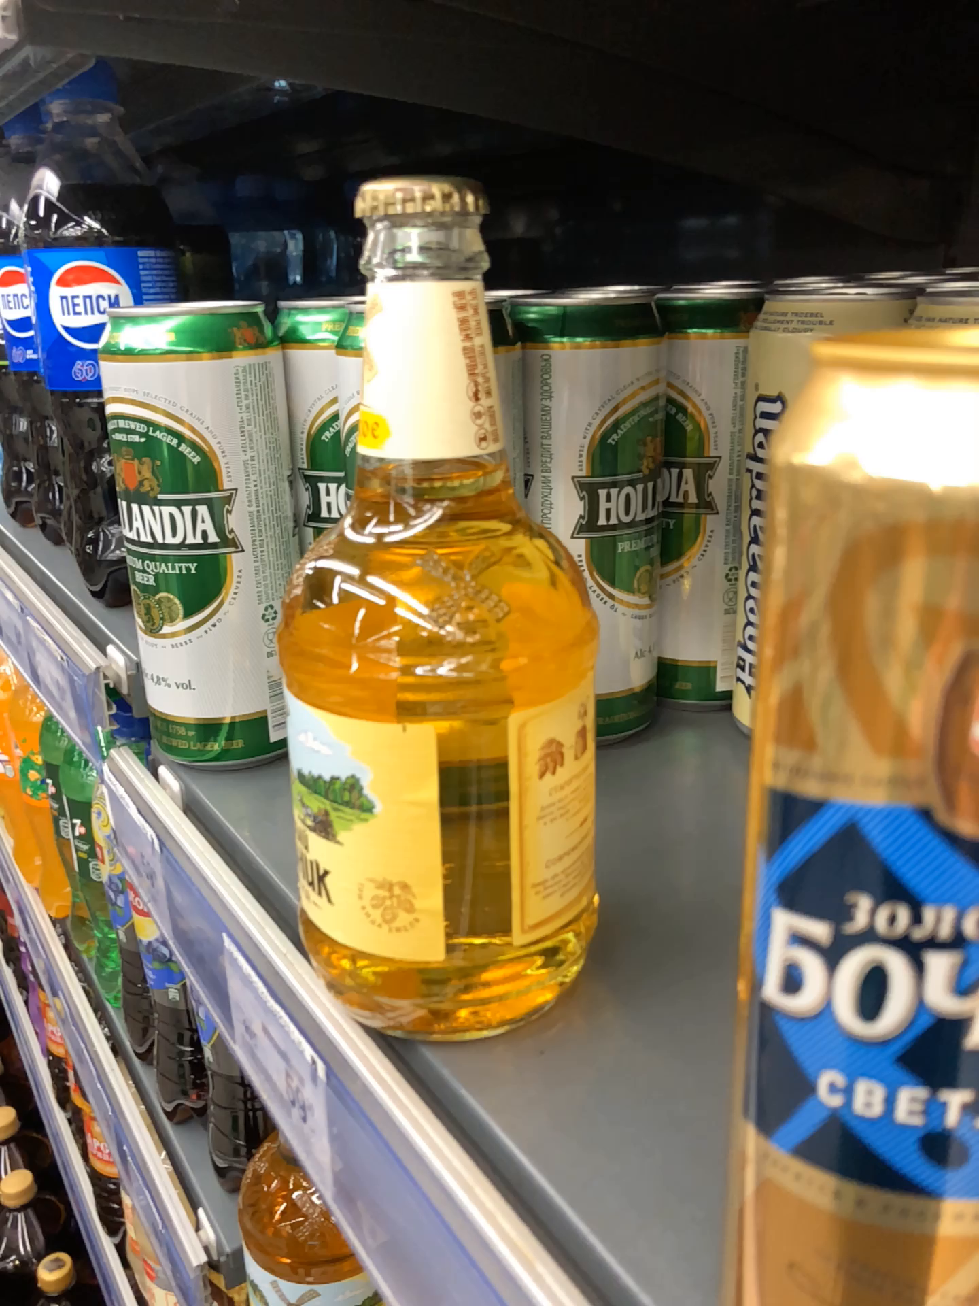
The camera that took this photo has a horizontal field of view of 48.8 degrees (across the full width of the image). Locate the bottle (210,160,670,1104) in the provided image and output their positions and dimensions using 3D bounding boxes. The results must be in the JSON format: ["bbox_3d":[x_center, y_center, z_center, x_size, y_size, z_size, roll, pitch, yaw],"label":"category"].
[{"bbox_3d":[-0.012,-0.008,0.259,0.080,0.193,0.090,-5,19,-9],"label":"bottle"}]
